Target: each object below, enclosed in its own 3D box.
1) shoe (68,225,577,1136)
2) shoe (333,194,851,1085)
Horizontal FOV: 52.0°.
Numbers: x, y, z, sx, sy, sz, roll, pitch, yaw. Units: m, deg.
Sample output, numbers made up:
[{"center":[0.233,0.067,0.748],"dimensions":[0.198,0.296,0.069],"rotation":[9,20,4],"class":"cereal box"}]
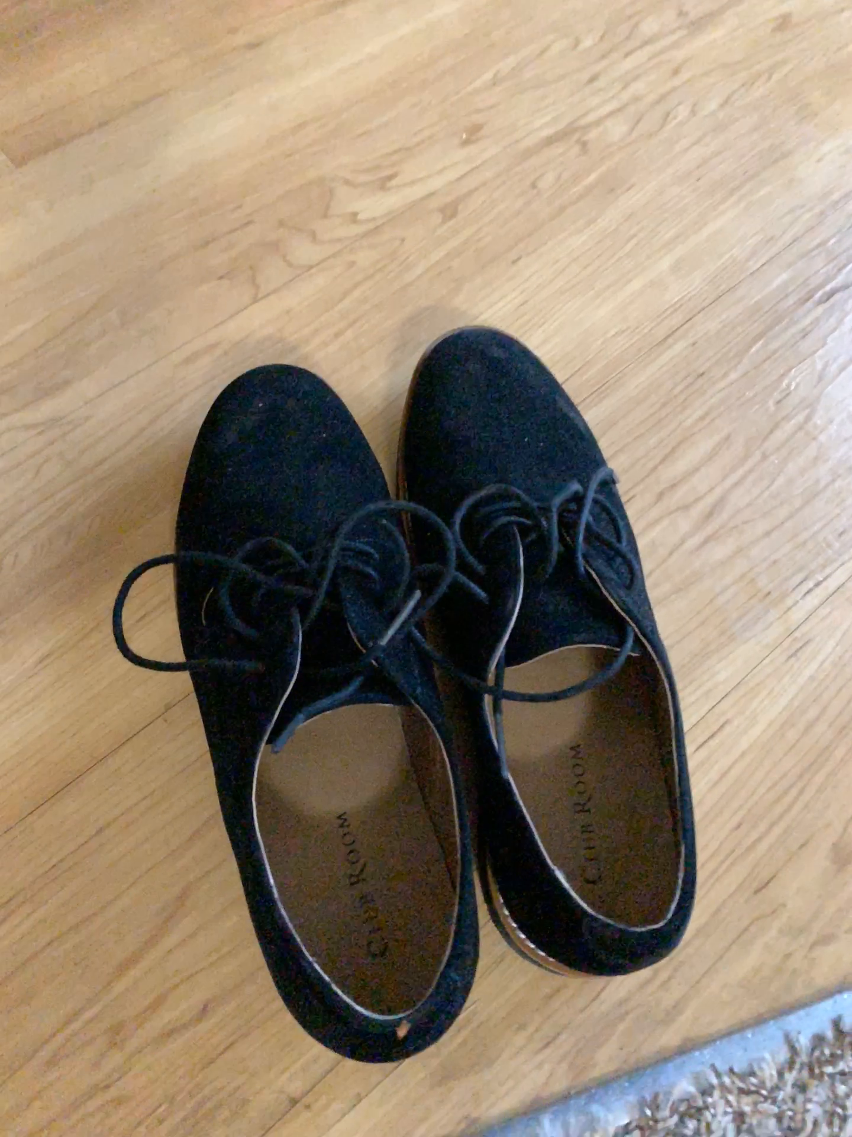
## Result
[{"center":[-0.051,0.024,0.325],"dimensions":[0.100,0.070,0.310],"rotation":[-14,69,-9],"class":"shoe"},{"center":[0.045,0.005,0.337],"dimensions":[0.110,0.070,0.310],"rotation":[-9,68,-7],"class":"shoe"}]
